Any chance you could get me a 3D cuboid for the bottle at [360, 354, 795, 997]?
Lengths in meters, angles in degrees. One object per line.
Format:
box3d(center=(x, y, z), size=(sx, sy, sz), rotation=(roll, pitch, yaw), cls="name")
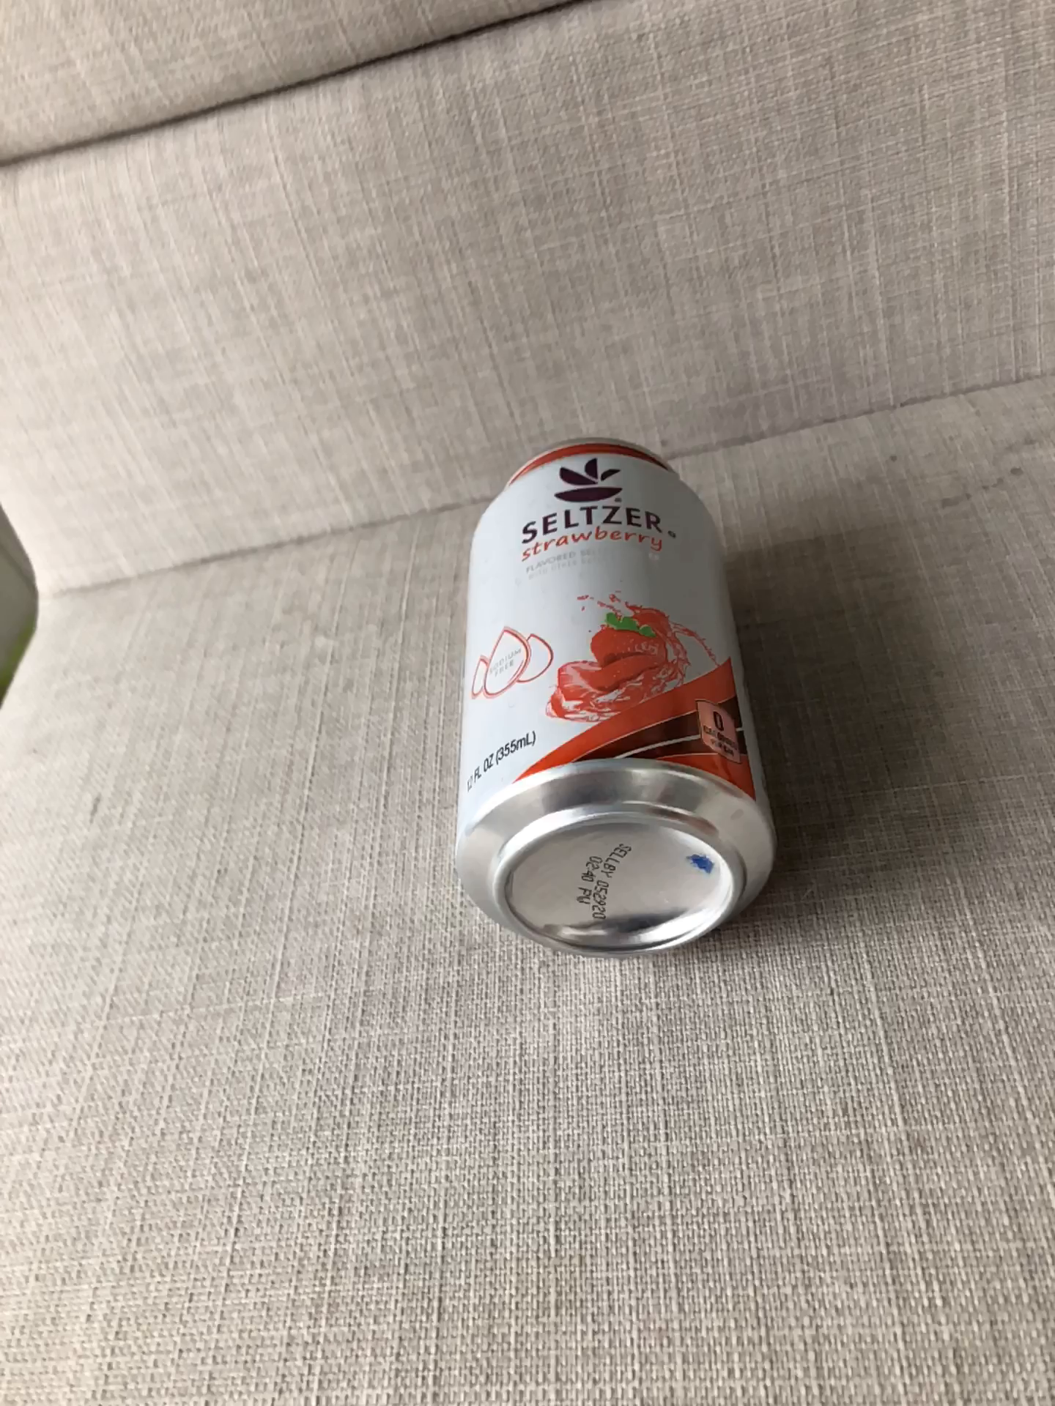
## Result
box3d(center=(0.013, -0.009, 0.267), size=(0.070, 0.069, 0.121), rotation=(-10, 47, 10), cls="bottle")
